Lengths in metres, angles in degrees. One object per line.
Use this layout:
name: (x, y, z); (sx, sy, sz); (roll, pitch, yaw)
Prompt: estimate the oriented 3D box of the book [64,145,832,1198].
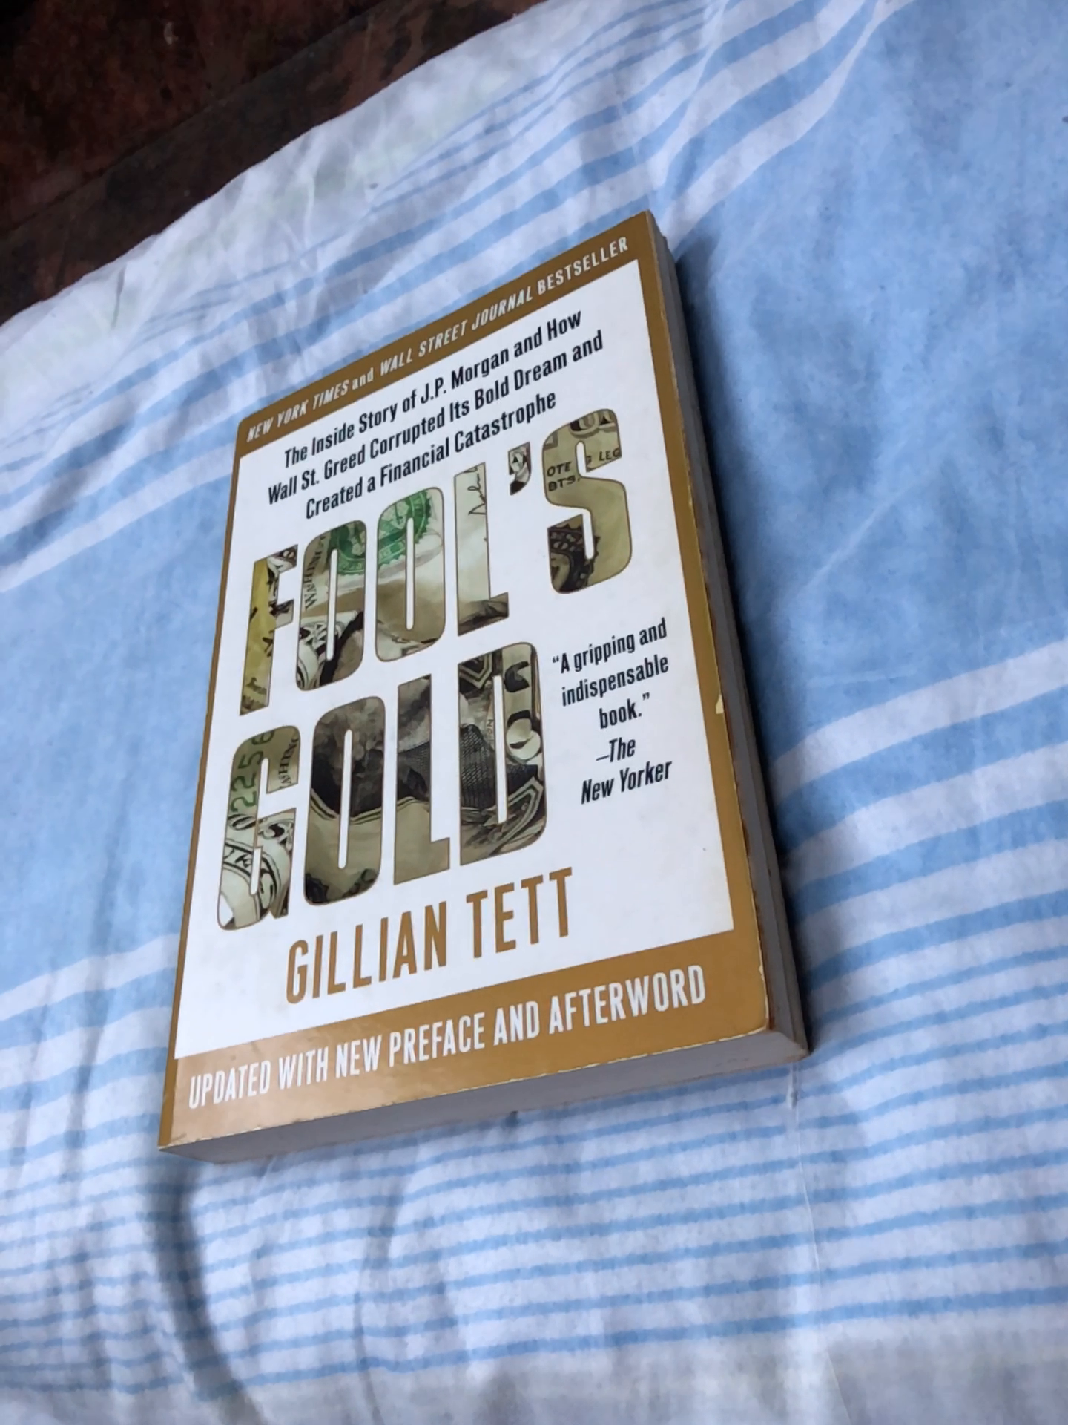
book: (-0.026, -0.017, 0.290); (0.150, 0.040, 0.230); (-20, 53, 25)
